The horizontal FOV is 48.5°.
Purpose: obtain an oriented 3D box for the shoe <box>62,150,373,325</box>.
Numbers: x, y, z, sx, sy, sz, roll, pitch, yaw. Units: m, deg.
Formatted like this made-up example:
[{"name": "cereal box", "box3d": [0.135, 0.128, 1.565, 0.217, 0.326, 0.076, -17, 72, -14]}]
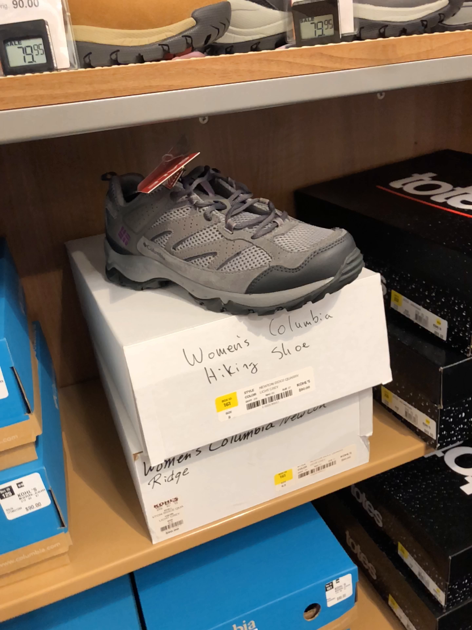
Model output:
[{"name": "shoe", "box3d": [-0.020, -0.085, 0.491, 0.268, 0.114, 0.104, 10, 30, 32]}]
